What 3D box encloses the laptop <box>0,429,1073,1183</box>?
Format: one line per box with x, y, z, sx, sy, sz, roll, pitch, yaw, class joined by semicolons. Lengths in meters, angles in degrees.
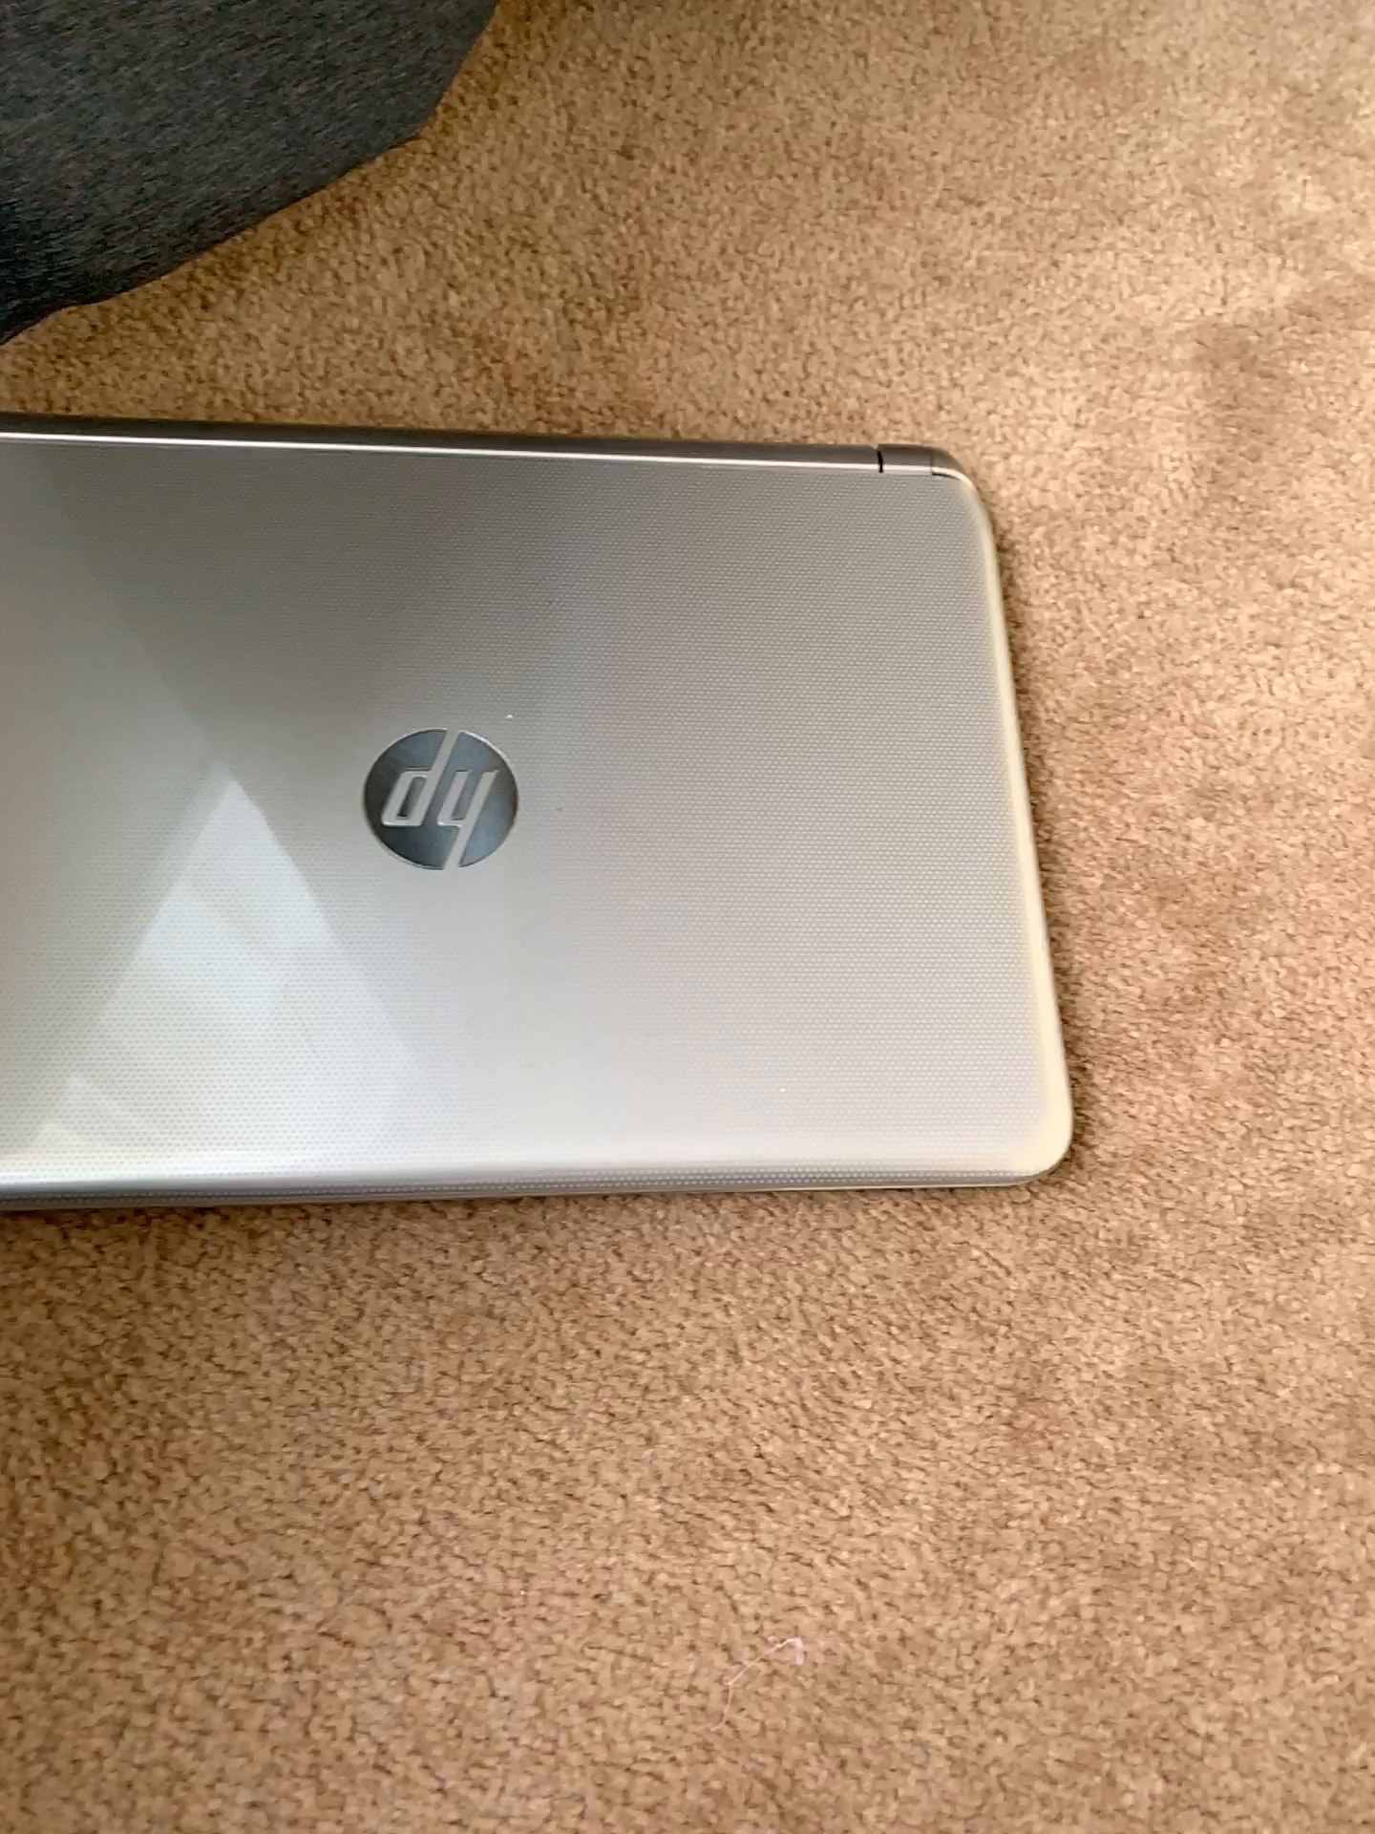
-0.069;-0.039;0.394;0.328;0.002;0.223;0;68;-6;laptop
